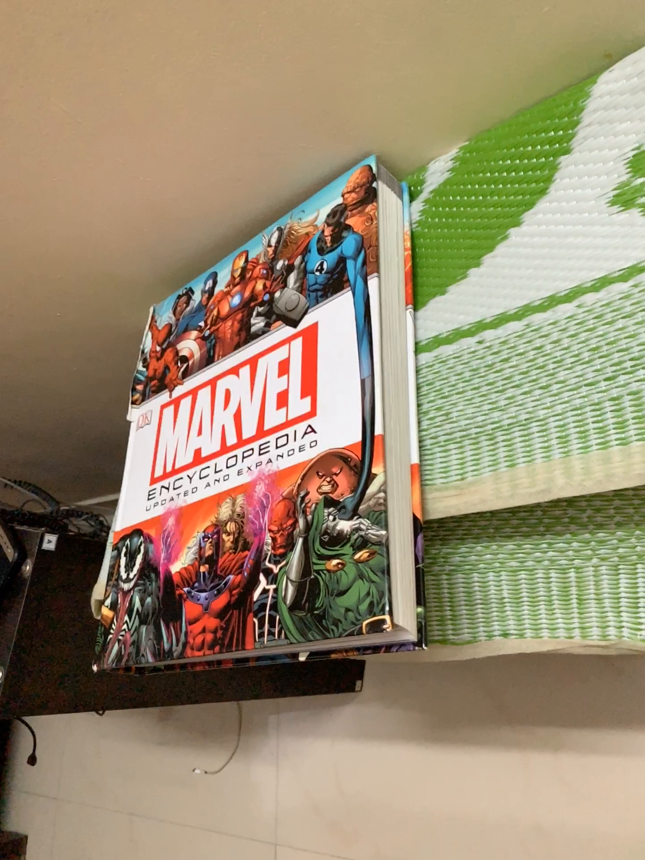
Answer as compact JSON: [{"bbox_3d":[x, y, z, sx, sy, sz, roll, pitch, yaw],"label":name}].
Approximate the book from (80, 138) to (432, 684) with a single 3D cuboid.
[{"bbox_3d":[-0.054,-0.004,0.456,0.261,0.040,0.321,-21,56,38],"label":"book"}]
